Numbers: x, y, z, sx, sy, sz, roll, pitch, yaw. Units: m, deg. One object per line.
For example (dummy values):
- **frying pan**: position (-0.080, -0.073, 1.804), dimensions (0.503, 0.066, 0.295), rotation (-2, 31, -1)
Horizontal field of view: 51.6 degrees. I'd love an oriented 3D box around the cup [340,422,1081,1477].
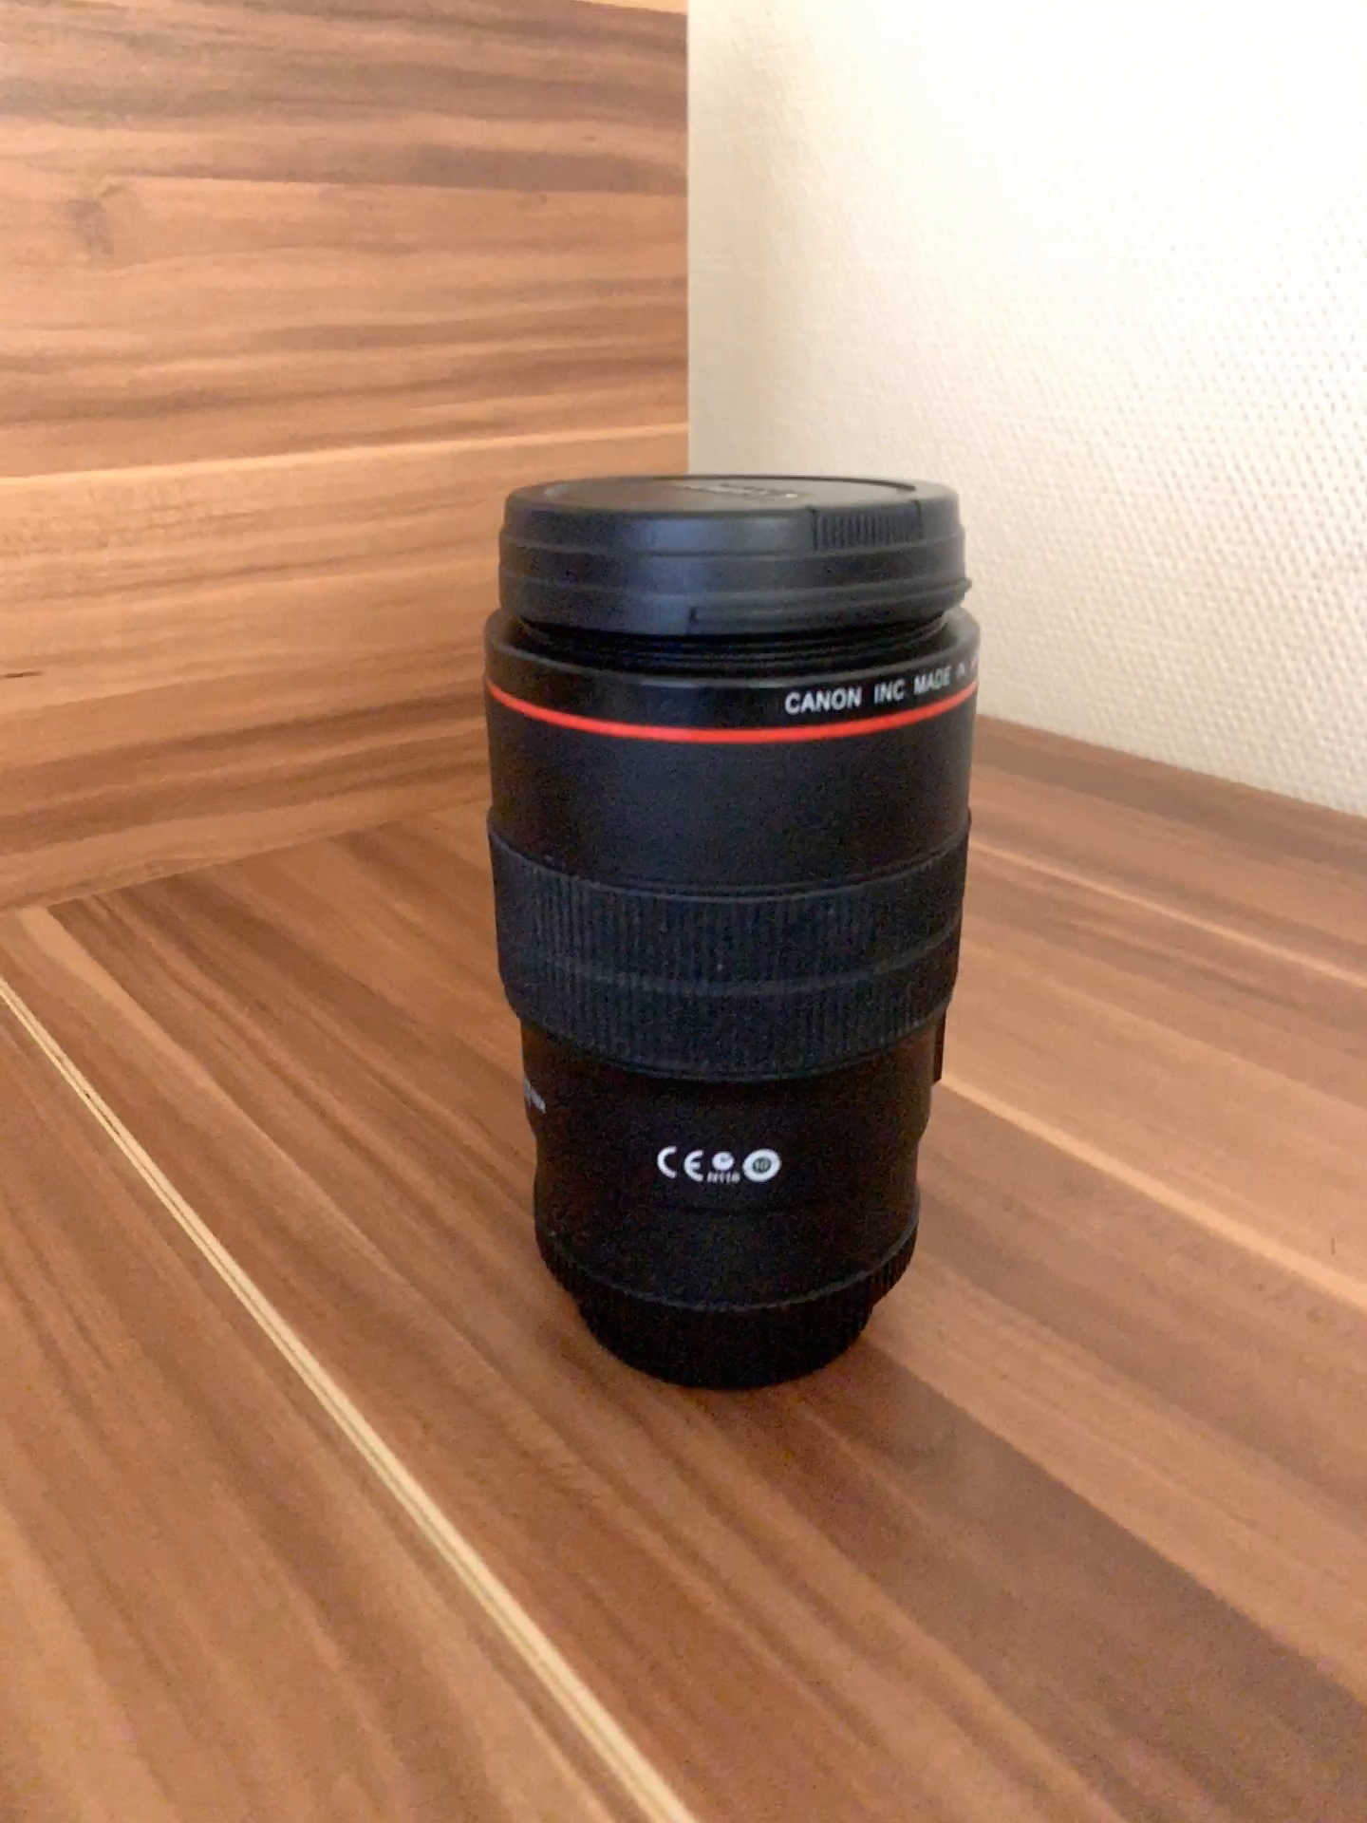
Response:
- **cup**: position (0.006, -0.001, 0.229), dimensions (0.080, 0.139, 0.070), rotation (15, 28, 32)
